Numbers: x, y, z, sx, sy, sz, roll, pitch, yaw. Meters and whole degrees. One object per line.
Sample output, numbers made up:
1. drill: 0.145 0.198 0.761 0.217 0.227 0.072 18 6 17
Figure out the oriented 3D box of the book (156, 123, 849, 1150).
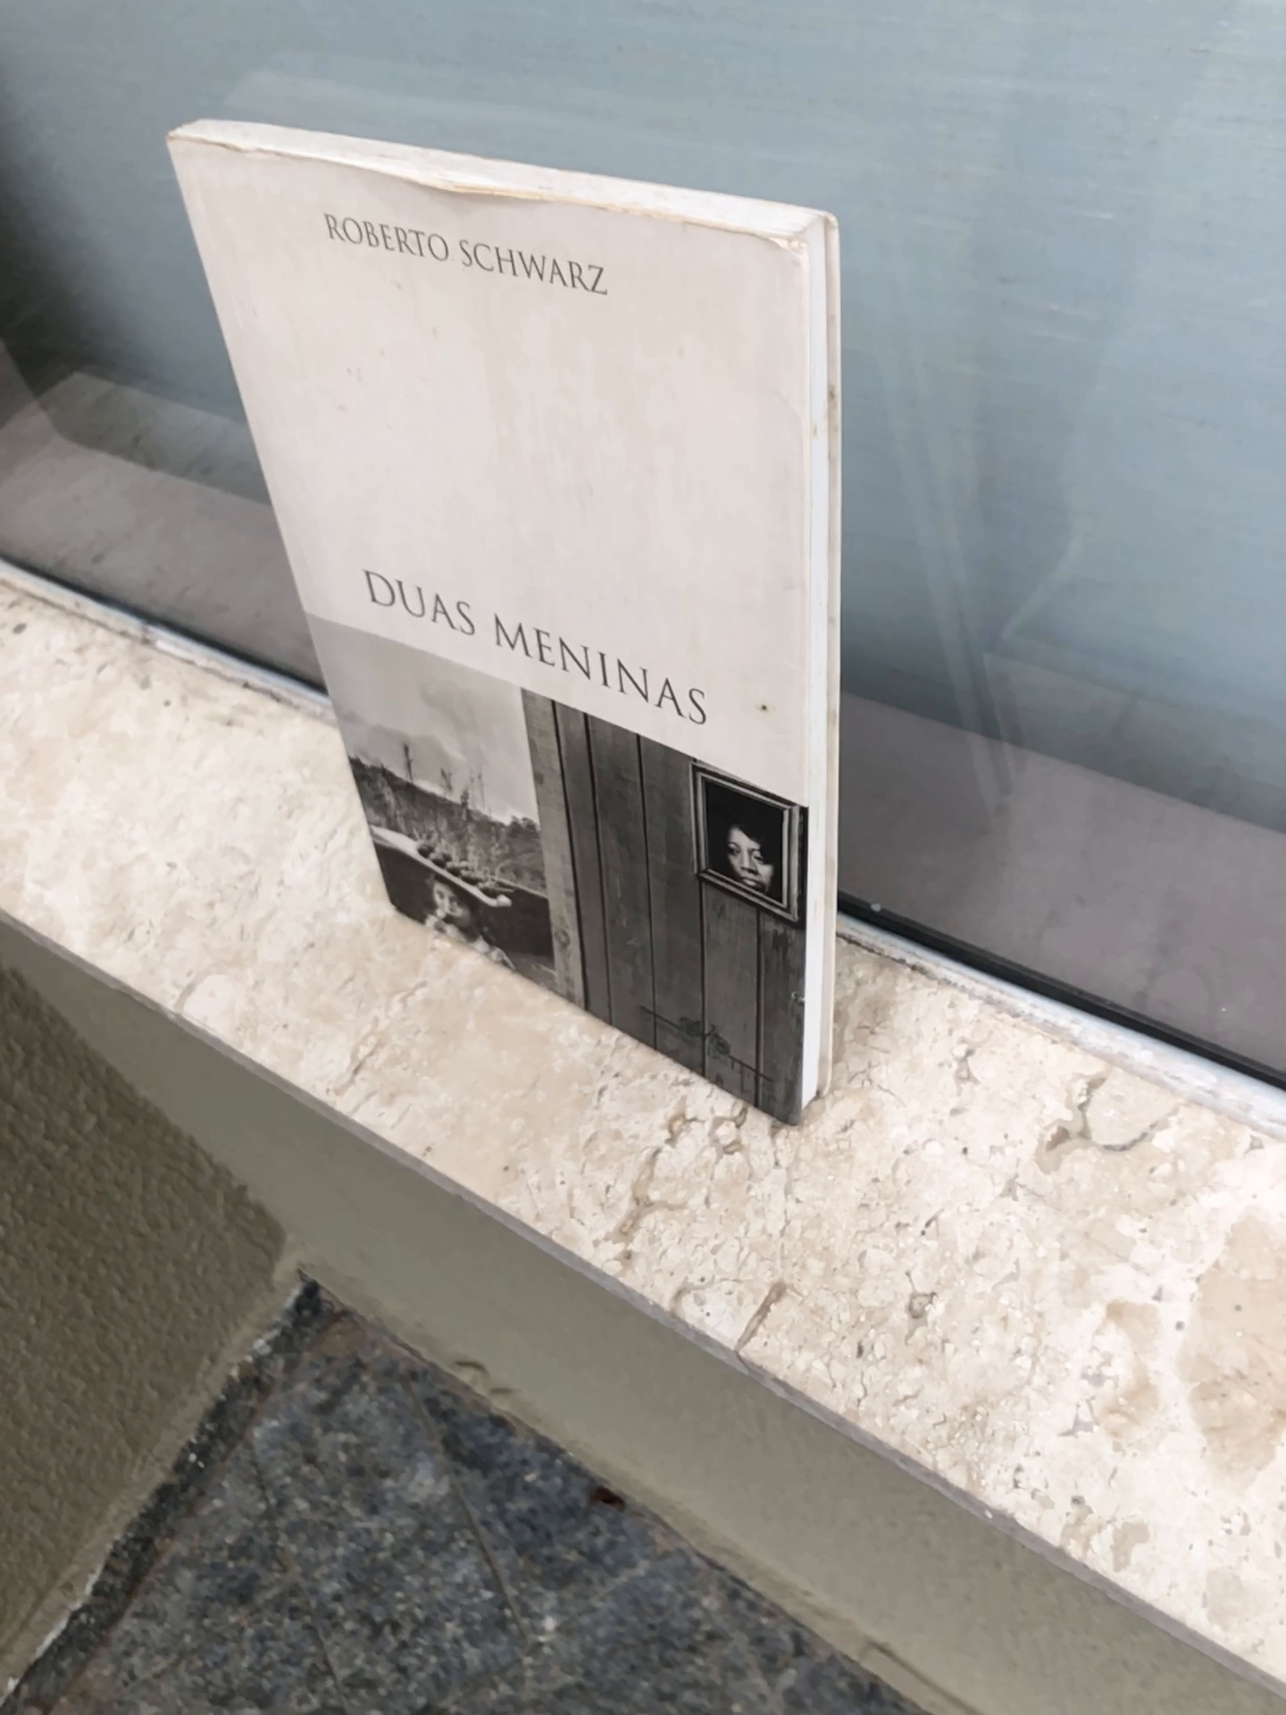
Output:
1. book: -0.020 -0.036 0.304 0.139 0.204 0.016 25 52 30
